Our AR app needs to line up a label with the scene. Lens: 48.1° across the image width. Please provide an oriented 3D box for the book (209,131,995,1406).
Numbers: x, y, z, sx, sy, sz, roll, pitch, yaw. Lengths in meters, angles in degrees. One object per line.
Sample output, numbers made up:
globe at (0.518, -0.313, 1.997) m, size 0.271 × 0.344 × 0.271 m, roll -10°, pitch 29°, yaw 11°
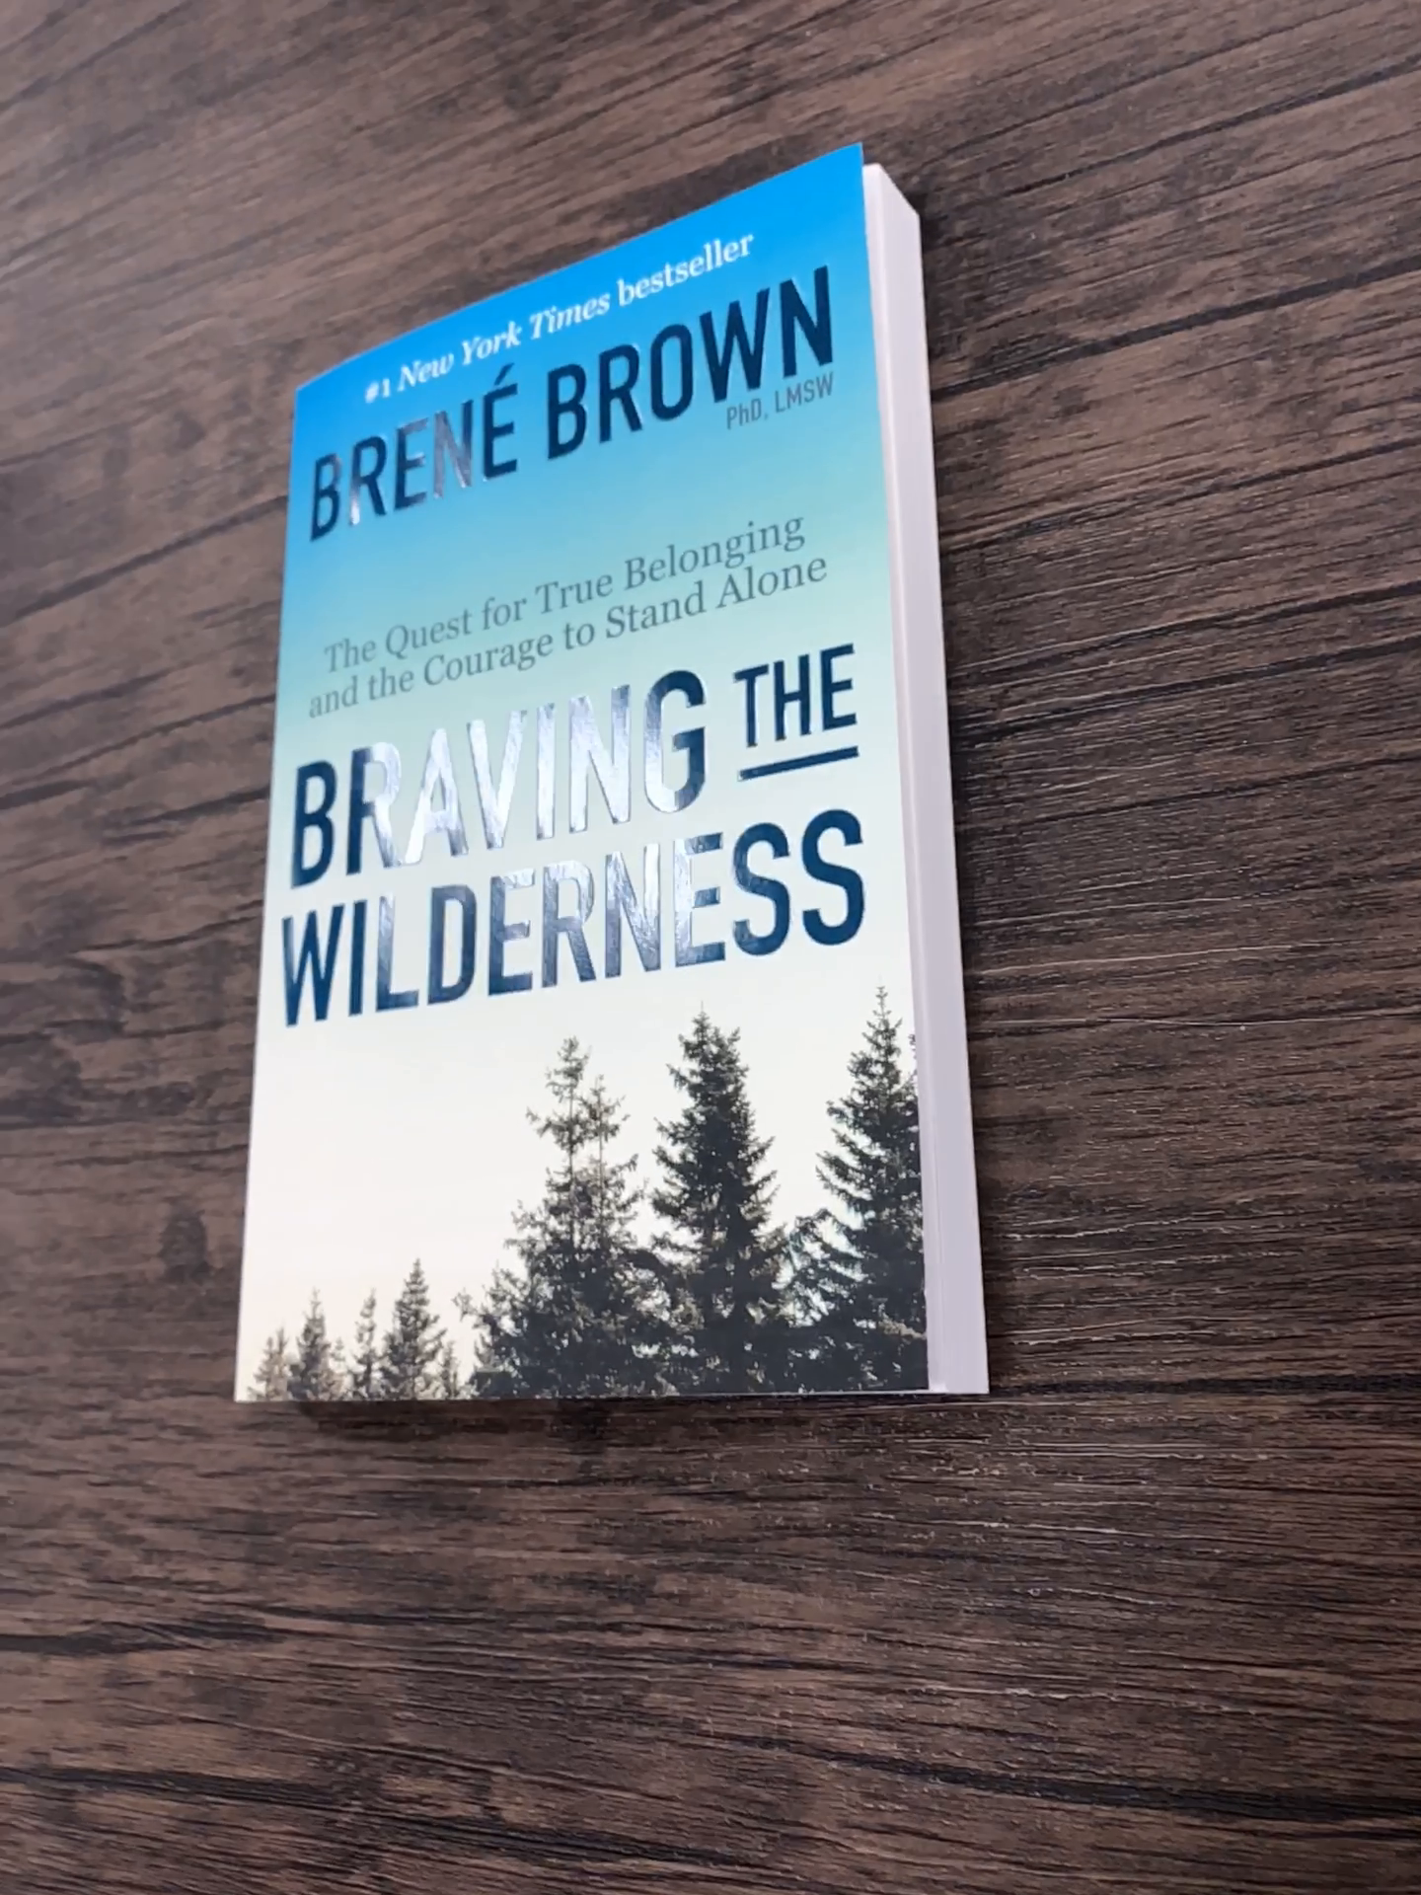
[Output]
book at (-0.025, -0.024, 0.266) m, size 0.130 × 0.021 × 0.191 m, roll -10°, pitch 73°, yaw 29°
